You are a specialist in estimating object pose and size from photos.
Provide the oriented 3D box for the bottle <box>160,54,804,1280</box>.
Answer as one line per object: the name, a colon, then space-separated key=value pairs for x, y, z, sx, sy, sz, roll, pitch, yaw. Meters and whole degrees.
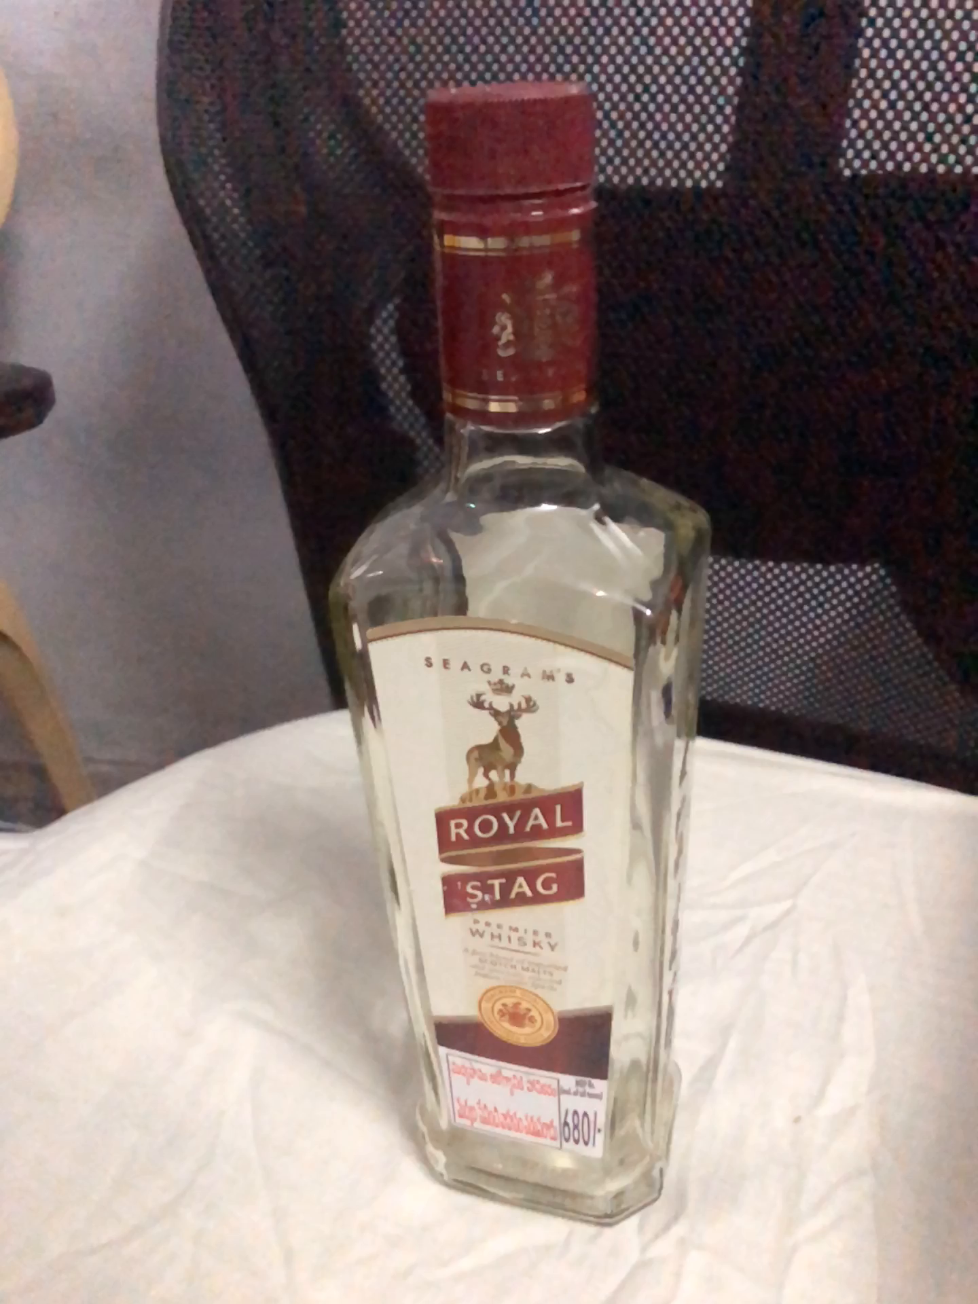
bottle: x=0.007 y=0.024 z=0.249 sx=0.090 sy=0.279 sz=0.060 roll=8 pitch=33 yaw=17
